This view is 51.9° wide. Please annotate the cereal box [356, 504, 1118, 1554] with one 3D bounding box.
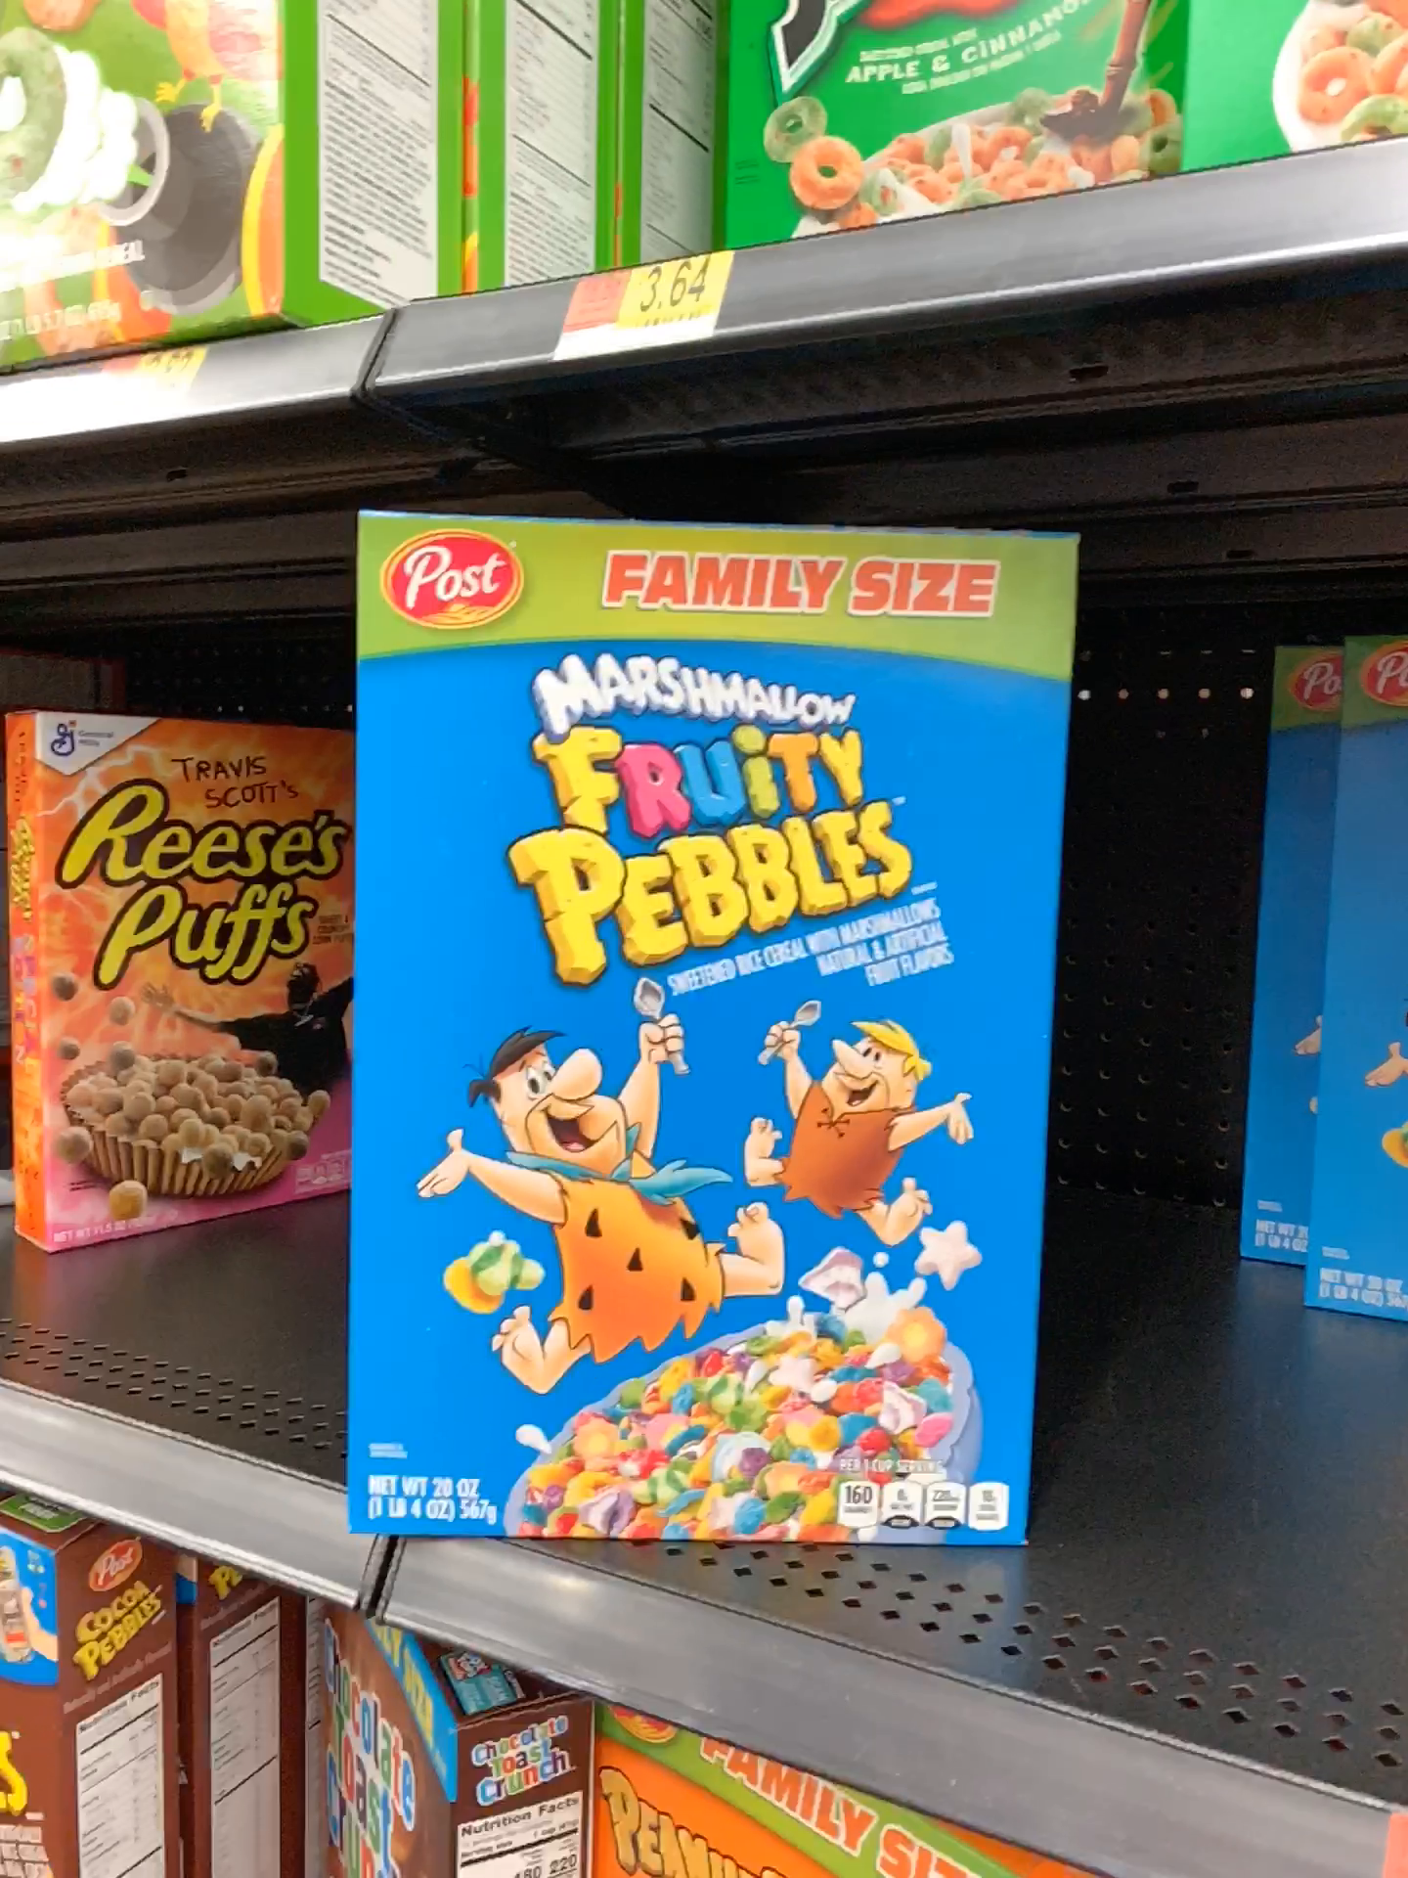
[{"bbox_3d":[0.006,0.031,0.494,0.230,0.330,0.070,2,5,-2],"label":"cereal box"}]
